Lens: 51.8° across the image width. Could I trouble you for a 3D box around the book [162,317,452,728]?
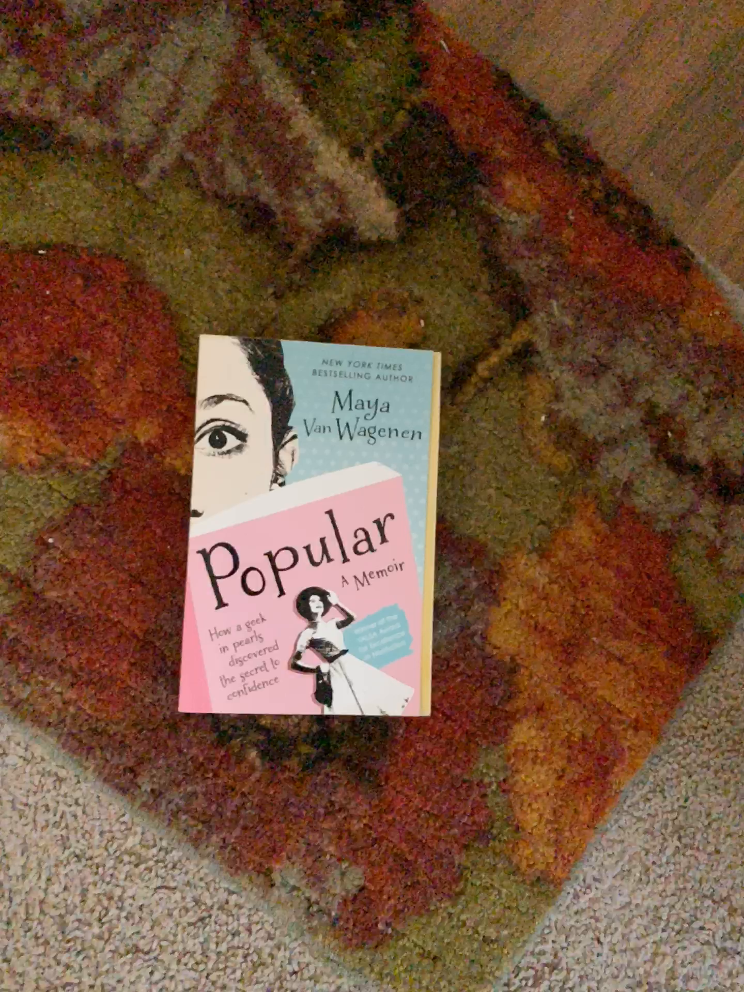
[{"bbox_3d":[-0.034,0.016,0.437,0.150,0.030,0.220,2,86,-6],"label":"book"}]
